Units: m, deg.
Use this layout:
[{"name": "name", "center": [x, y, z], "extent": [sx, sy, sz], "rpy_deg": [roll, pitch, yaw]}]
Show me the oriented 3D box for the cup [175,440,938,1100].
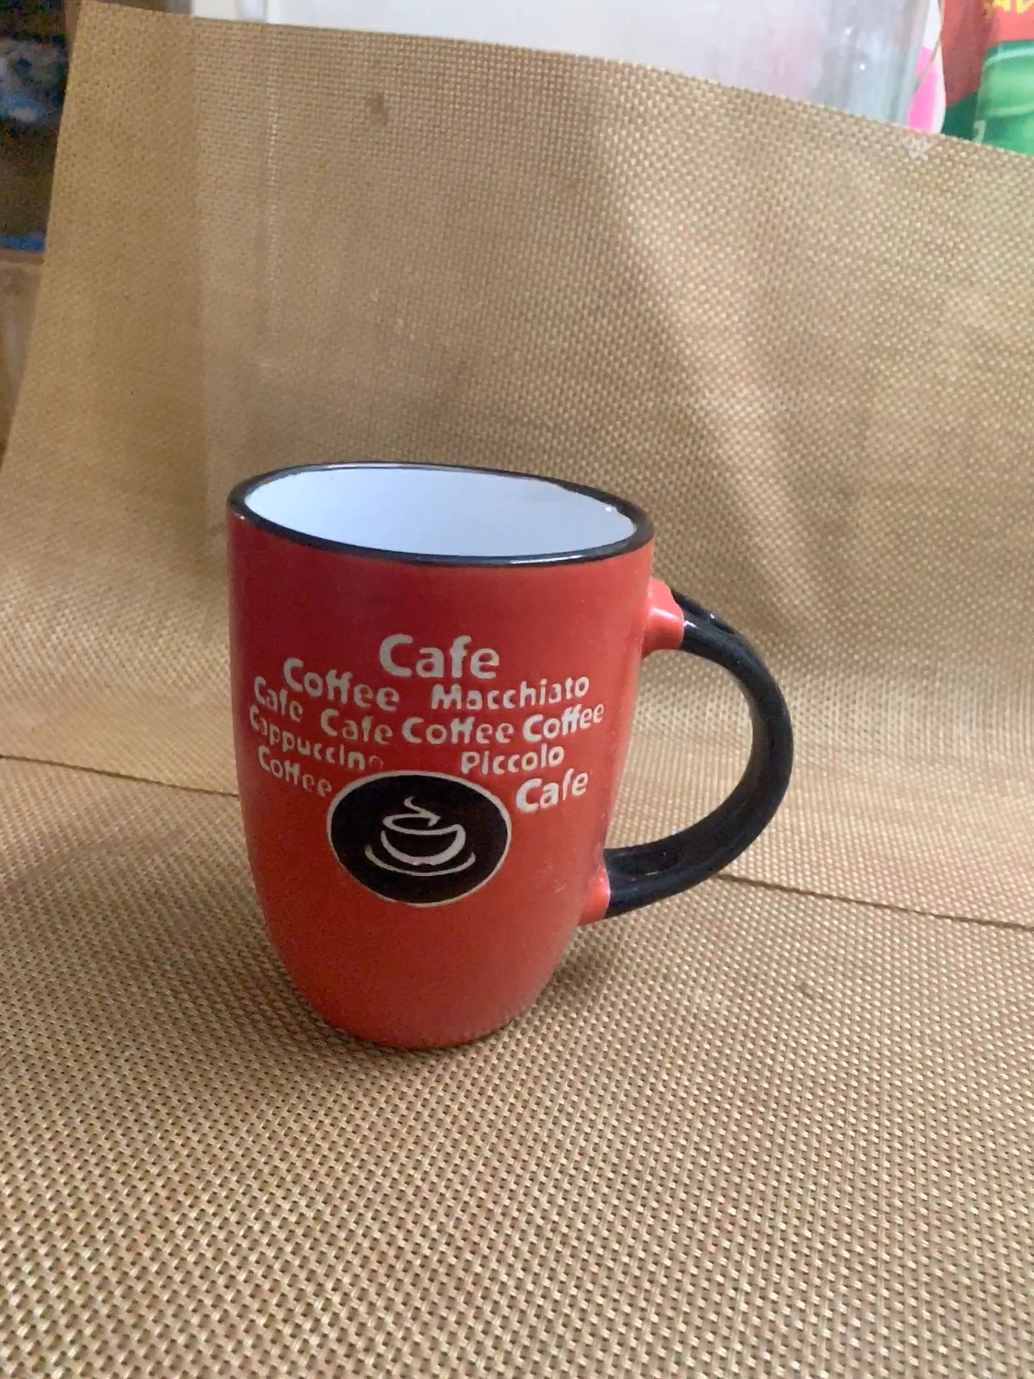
[{"name": "cup", "center": [-0.002, 0.009, 0.225], "extent": [0.120, 0.099, 0.091], "rpy_deg": [1, 22, -11]}]
